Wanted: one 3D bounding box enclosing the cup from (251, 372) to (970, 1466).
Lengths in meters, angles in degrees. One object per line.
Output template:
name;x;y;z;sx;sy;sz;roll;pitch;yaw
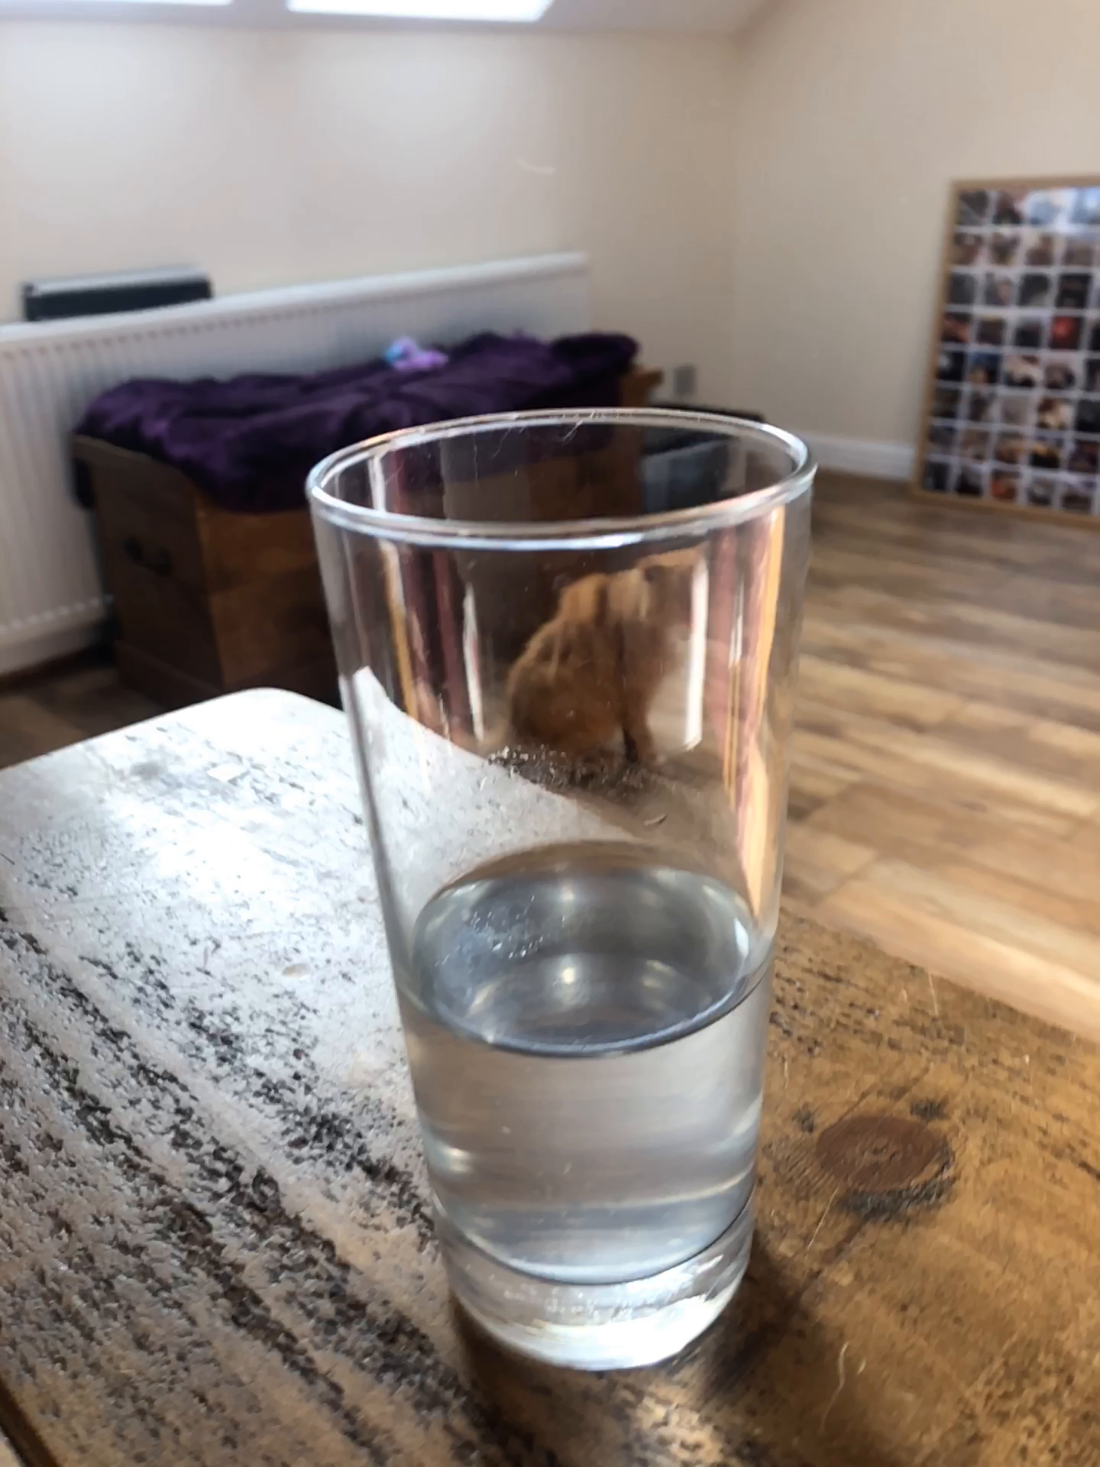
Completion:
cup;0.016;0.025;0.206;0.074;0.152;0.078;-3;24;1
